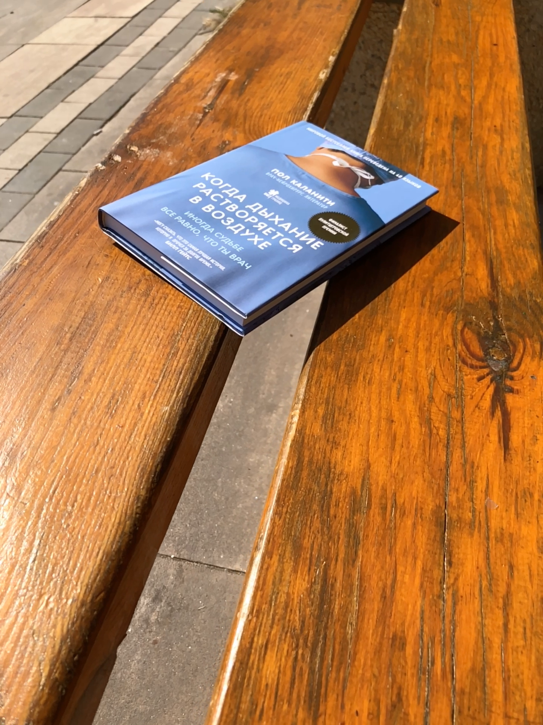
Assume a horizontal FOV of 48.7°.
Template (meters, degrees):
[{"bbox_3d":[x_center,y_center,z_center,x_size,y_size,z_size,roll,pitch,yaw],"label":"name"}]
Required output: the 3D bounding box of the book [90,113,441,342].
[{"bbox_3d":[0.002,-0.111,0.431,0.140,0.025,0.211,37,54,25],"label":"book"}]
